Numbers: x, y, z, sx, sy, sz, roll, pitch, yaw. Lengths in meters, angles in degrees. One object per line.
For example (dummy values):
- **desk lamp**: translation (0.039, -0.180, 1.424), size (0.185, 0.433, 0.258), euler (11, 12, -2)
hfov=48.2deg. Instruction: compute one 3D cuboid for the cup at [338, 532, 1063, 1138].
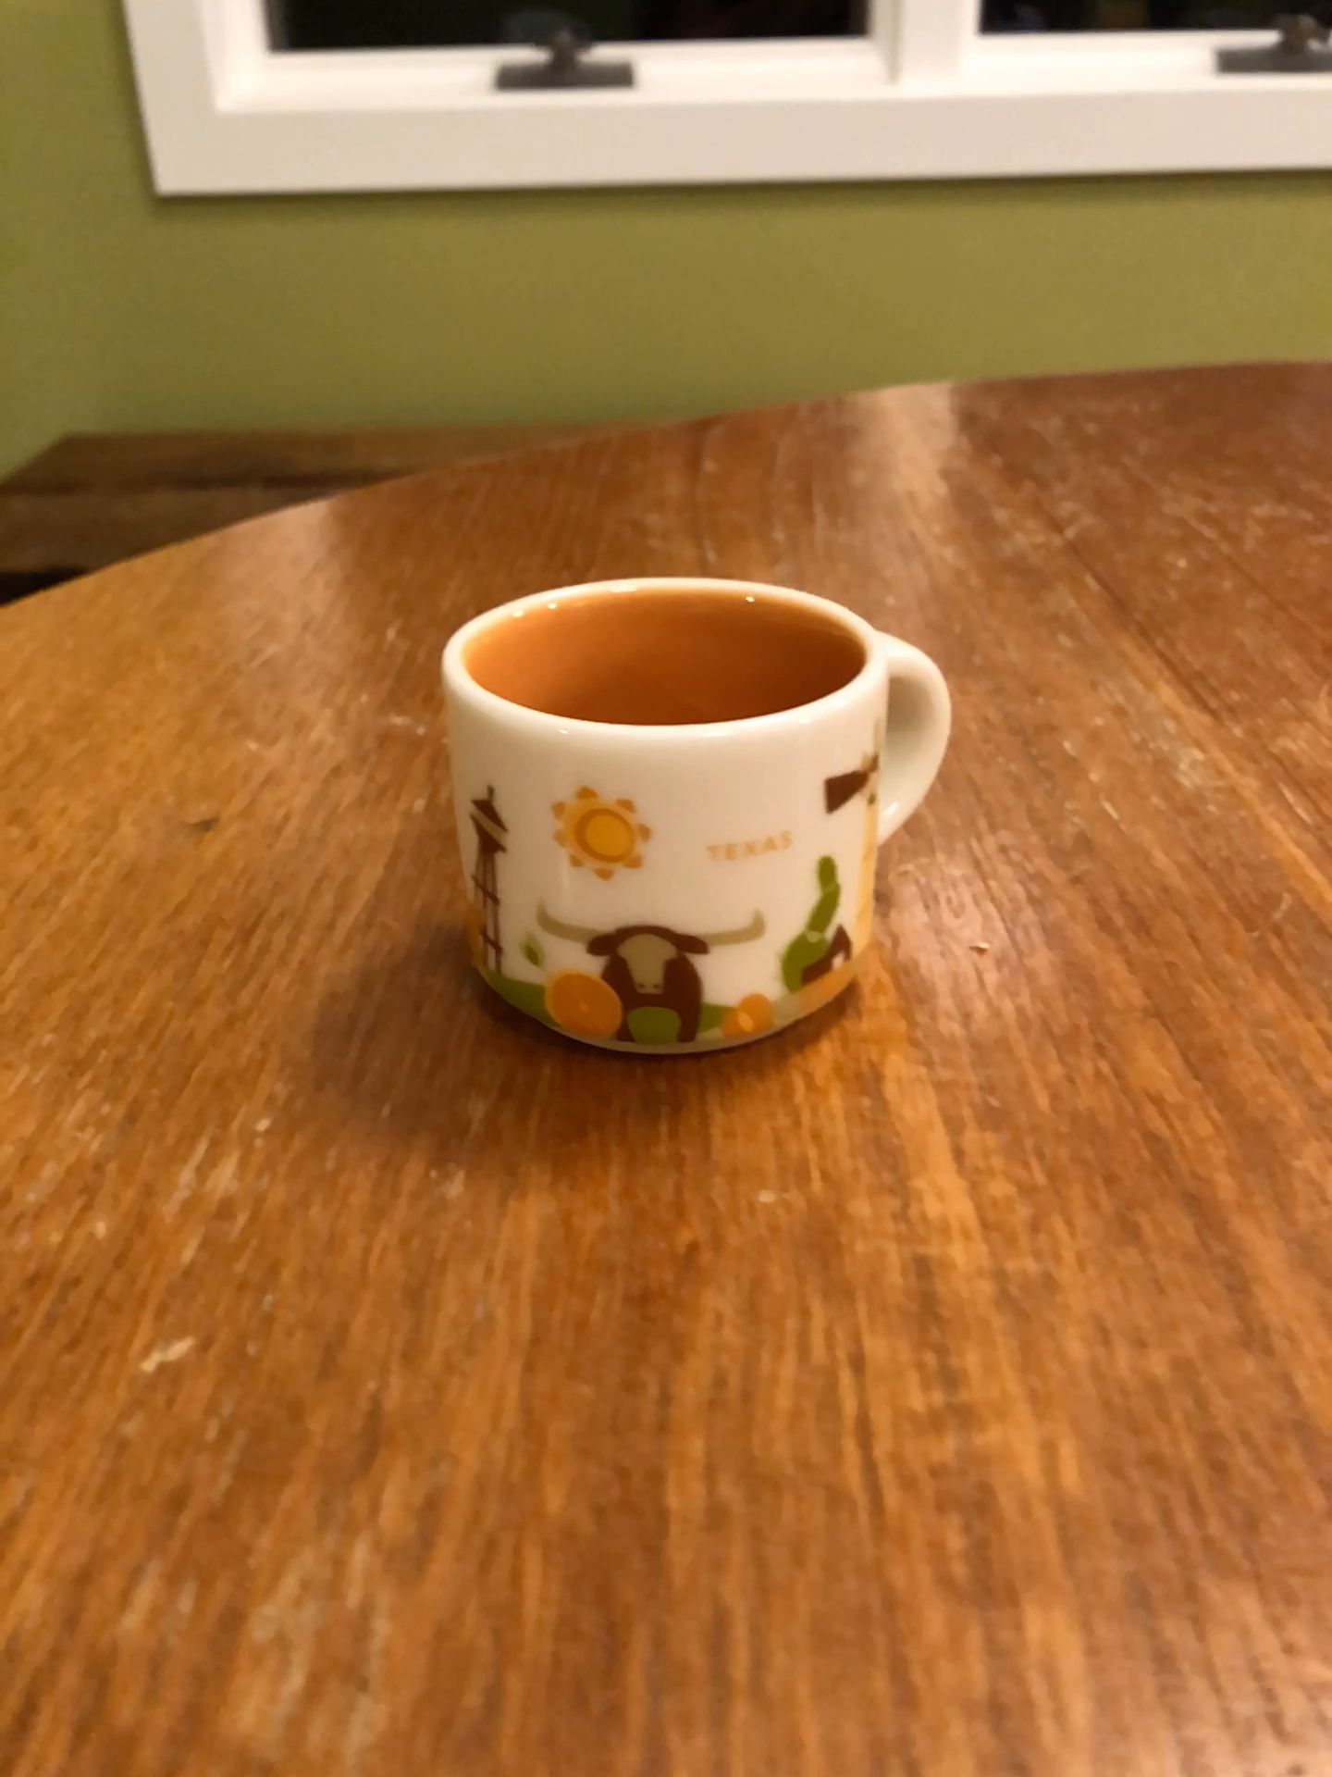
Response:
- **cup**: translation (0.005, -0.014, 0.217), size (0.080, 0.049, 0.060), euler (-20, 34, -29)
